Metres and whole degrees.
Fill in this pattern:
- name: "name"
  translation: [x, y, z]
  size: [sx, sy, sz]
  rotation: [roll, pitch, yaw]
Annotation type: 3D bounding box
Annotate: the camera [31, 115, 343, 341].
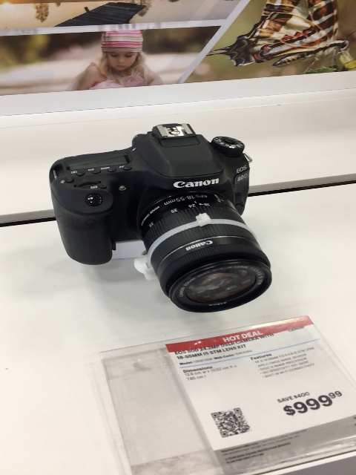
- name: "camera"
  translation: [-0.006, -0.014, 0.343]
  size: [0.164, 0.094, 0.133]
  rotation: [-10, 43, -12]
